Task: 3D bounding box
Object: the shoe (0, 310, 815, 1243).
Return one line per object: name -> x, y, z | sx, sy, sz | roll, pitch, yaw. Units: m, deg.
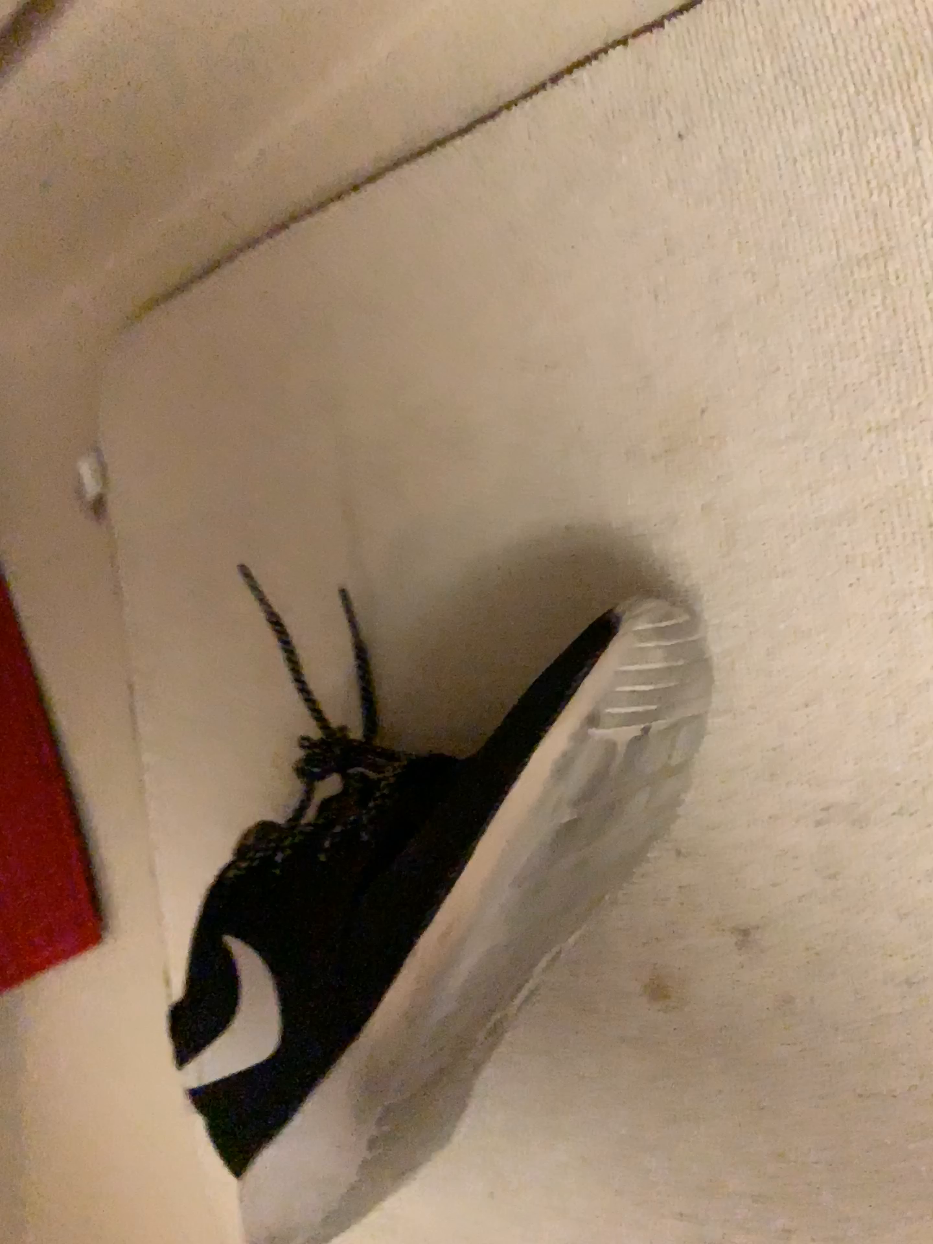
shoe -> -0.054, 0.072, 0.342 | 0.180, 0.100, 0.270 | 42, 117, 28
